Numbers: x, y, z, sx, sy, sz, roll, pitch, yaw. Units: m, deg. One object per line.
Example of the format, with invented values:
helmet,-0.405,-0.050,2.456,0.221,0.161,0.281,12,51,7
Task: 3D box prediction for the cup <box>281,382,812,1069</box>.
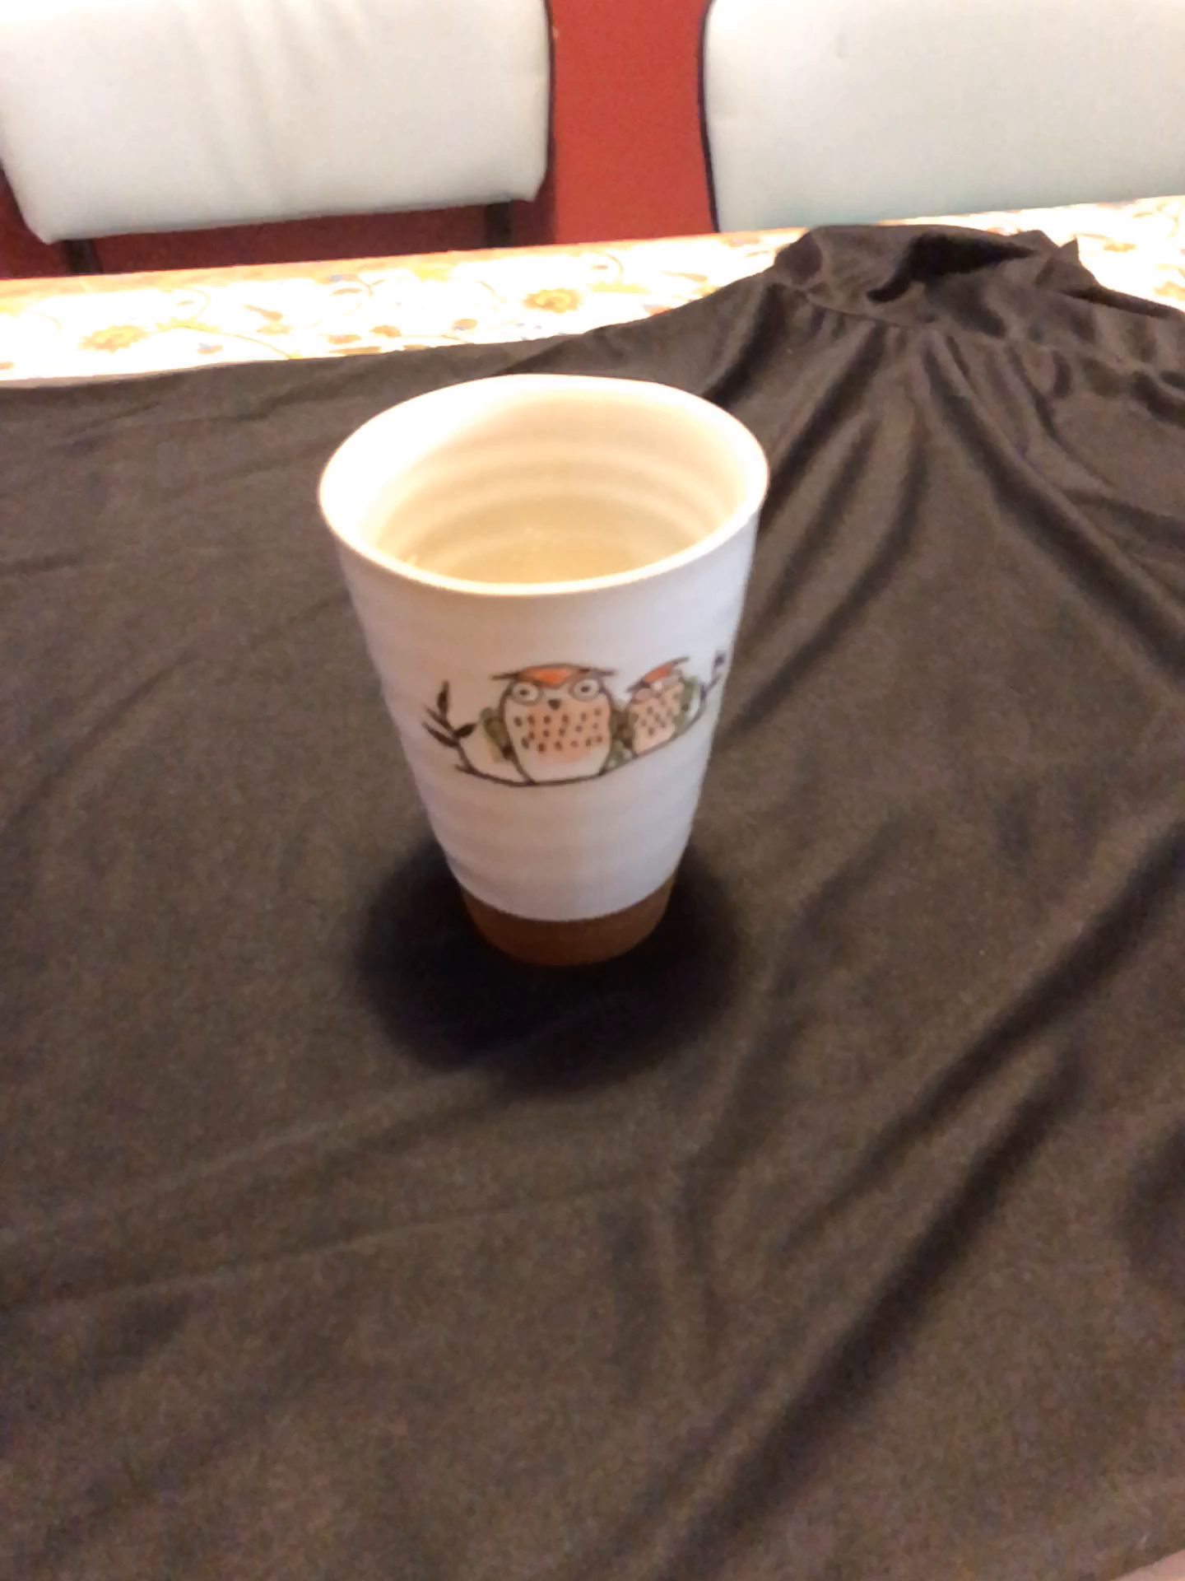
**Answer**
cup,-0.001,-0.015,0.265,0.080,0.099,0.091,4,41,8
